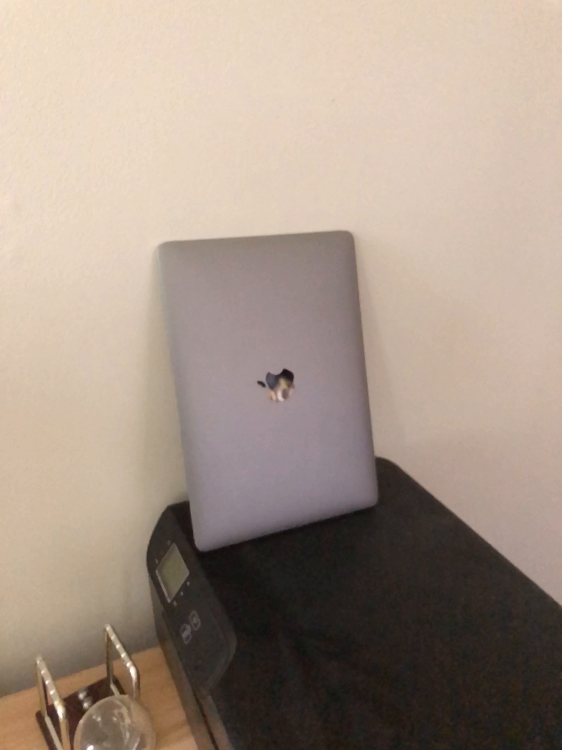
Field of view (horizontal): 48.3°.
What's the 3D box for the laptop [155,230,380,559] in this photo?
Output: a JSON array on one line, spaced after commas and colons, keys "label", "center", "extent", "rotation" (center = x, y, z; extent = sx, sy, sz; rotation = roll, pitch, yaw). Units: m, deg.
[{"label": "laptop", "center": [-0.004, 0.012, 0.588], "extent": [0.196, 0.275, 0.002], "rotation": [-9, 6, -24]}]
